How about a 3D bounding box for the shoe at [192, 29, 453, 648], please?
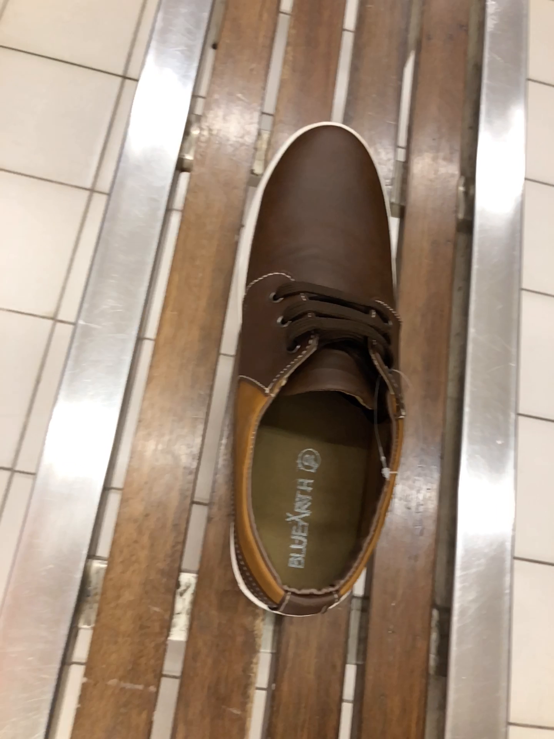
[{"bbox_3d":[0.028,-0.025,0.342,0.100,0.080,0.311,9,73,-7],"label":"shoe"}]
